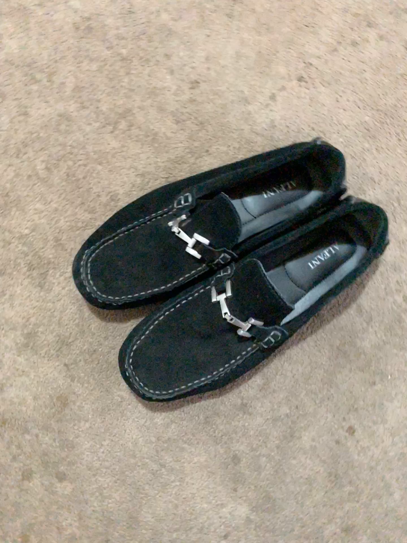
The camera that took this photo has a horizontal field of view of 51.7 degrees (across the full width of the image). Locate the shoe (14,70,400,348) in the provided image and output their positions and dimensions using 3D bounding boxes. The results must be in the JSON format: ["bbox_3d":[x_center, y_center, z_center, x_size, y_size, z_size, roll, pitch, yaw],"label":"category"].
[{"bbox_3d":[0.008,-0.052,0.393,0.310,0.100,0.100,-30,83,-9],"label":"shoe"}]

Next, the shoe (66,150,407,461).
[{"bbox_3d":[0.054,0.024,0.376,0.310,0.100,0.100,-30,83,-9],"label":"shoe"}]
